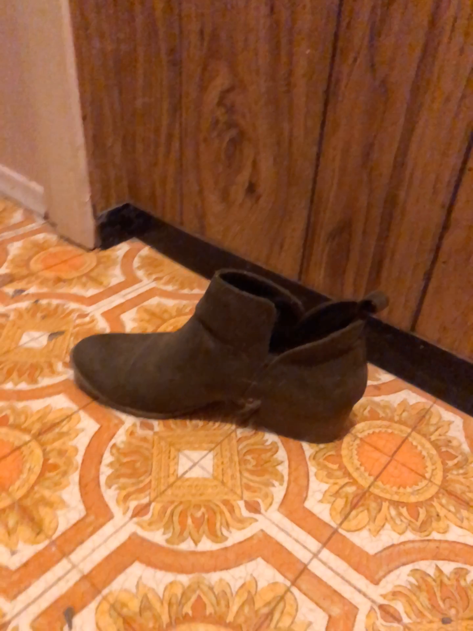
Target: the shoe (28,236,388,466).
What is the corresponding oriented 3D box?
[{"bbox_3d":[-0.022,0.027,0.438,0.260,0.130,0.080,9,35,7],"label":"shoe"}]
